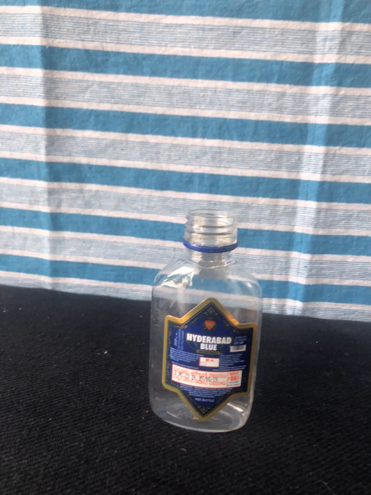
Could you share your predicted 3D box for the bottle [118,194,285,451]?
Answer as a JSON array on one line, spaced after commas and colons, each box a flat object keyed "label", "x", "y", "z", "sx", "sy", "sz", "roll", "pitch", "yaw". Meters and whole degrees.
[{"label": "bottle", "x": 0.006, "y": 0.032, "z": 0.195, "sx": 0.060, "sy": 0.100, "sz": 0.050, "roll": 7, "pitch": 19, "yaw": 4}]
